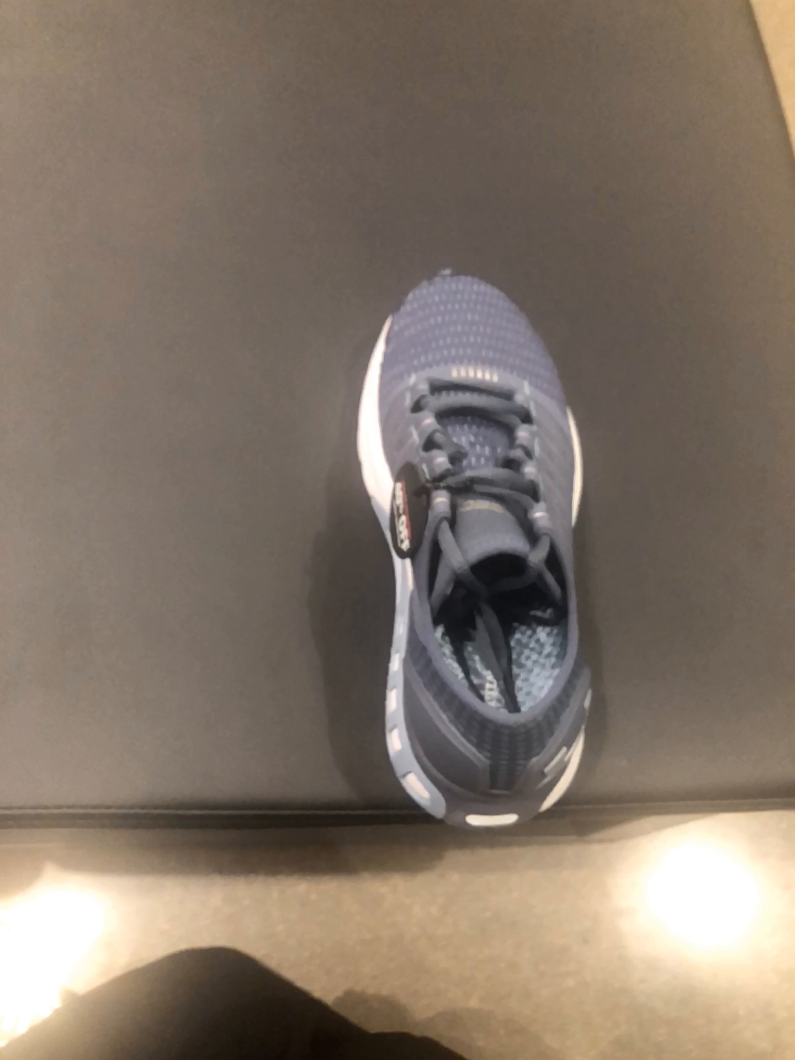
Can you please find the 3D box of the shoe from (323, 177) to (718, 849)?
[{"bbox_3d":[0.033,-0.009,0.363,0.120,0.097,0.255,1,66,-4],"label":"shoe"}]
